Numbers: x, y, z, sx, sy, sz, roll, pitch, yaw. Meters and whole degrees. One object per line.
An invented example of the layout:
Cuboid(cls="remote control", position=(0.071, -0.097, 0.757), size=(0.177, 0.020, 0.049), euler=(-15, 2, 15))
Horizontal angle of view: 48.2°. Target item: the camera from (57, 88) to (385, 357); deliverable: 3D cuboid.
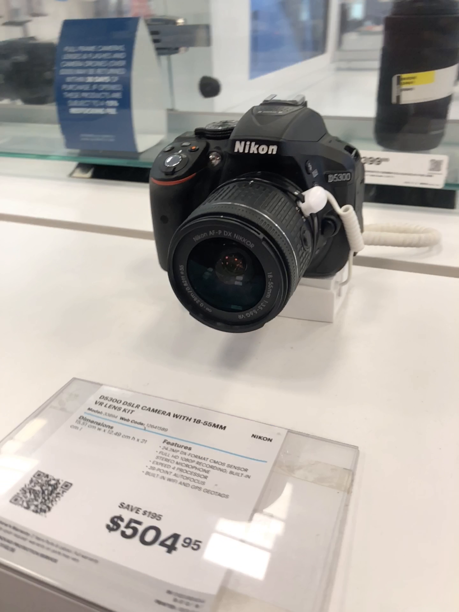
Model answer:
Cuboid(cls="camera", position=(0.009, -0.062, 0.294), size=(0.130, 0.100, 0.140), euler=(9, 31, 19))
